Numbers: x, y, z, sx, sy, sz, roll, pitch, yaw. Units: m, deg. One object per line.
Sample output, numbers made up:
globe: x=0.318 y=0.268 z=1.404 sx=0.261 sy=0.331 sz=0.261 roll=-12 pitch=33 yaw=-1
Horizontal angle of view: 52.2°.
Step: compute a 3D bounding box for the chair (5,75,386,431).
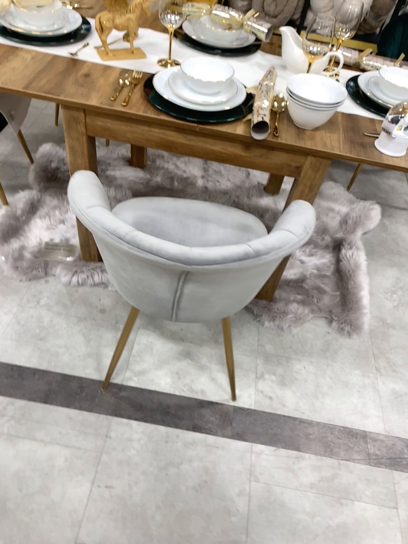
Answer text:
chair: x=-0.034 y=-0.012 z=1.133 sx=0.631 sy=0.709 sz=0.555 roll=8 pitch=48 yaw=-3
